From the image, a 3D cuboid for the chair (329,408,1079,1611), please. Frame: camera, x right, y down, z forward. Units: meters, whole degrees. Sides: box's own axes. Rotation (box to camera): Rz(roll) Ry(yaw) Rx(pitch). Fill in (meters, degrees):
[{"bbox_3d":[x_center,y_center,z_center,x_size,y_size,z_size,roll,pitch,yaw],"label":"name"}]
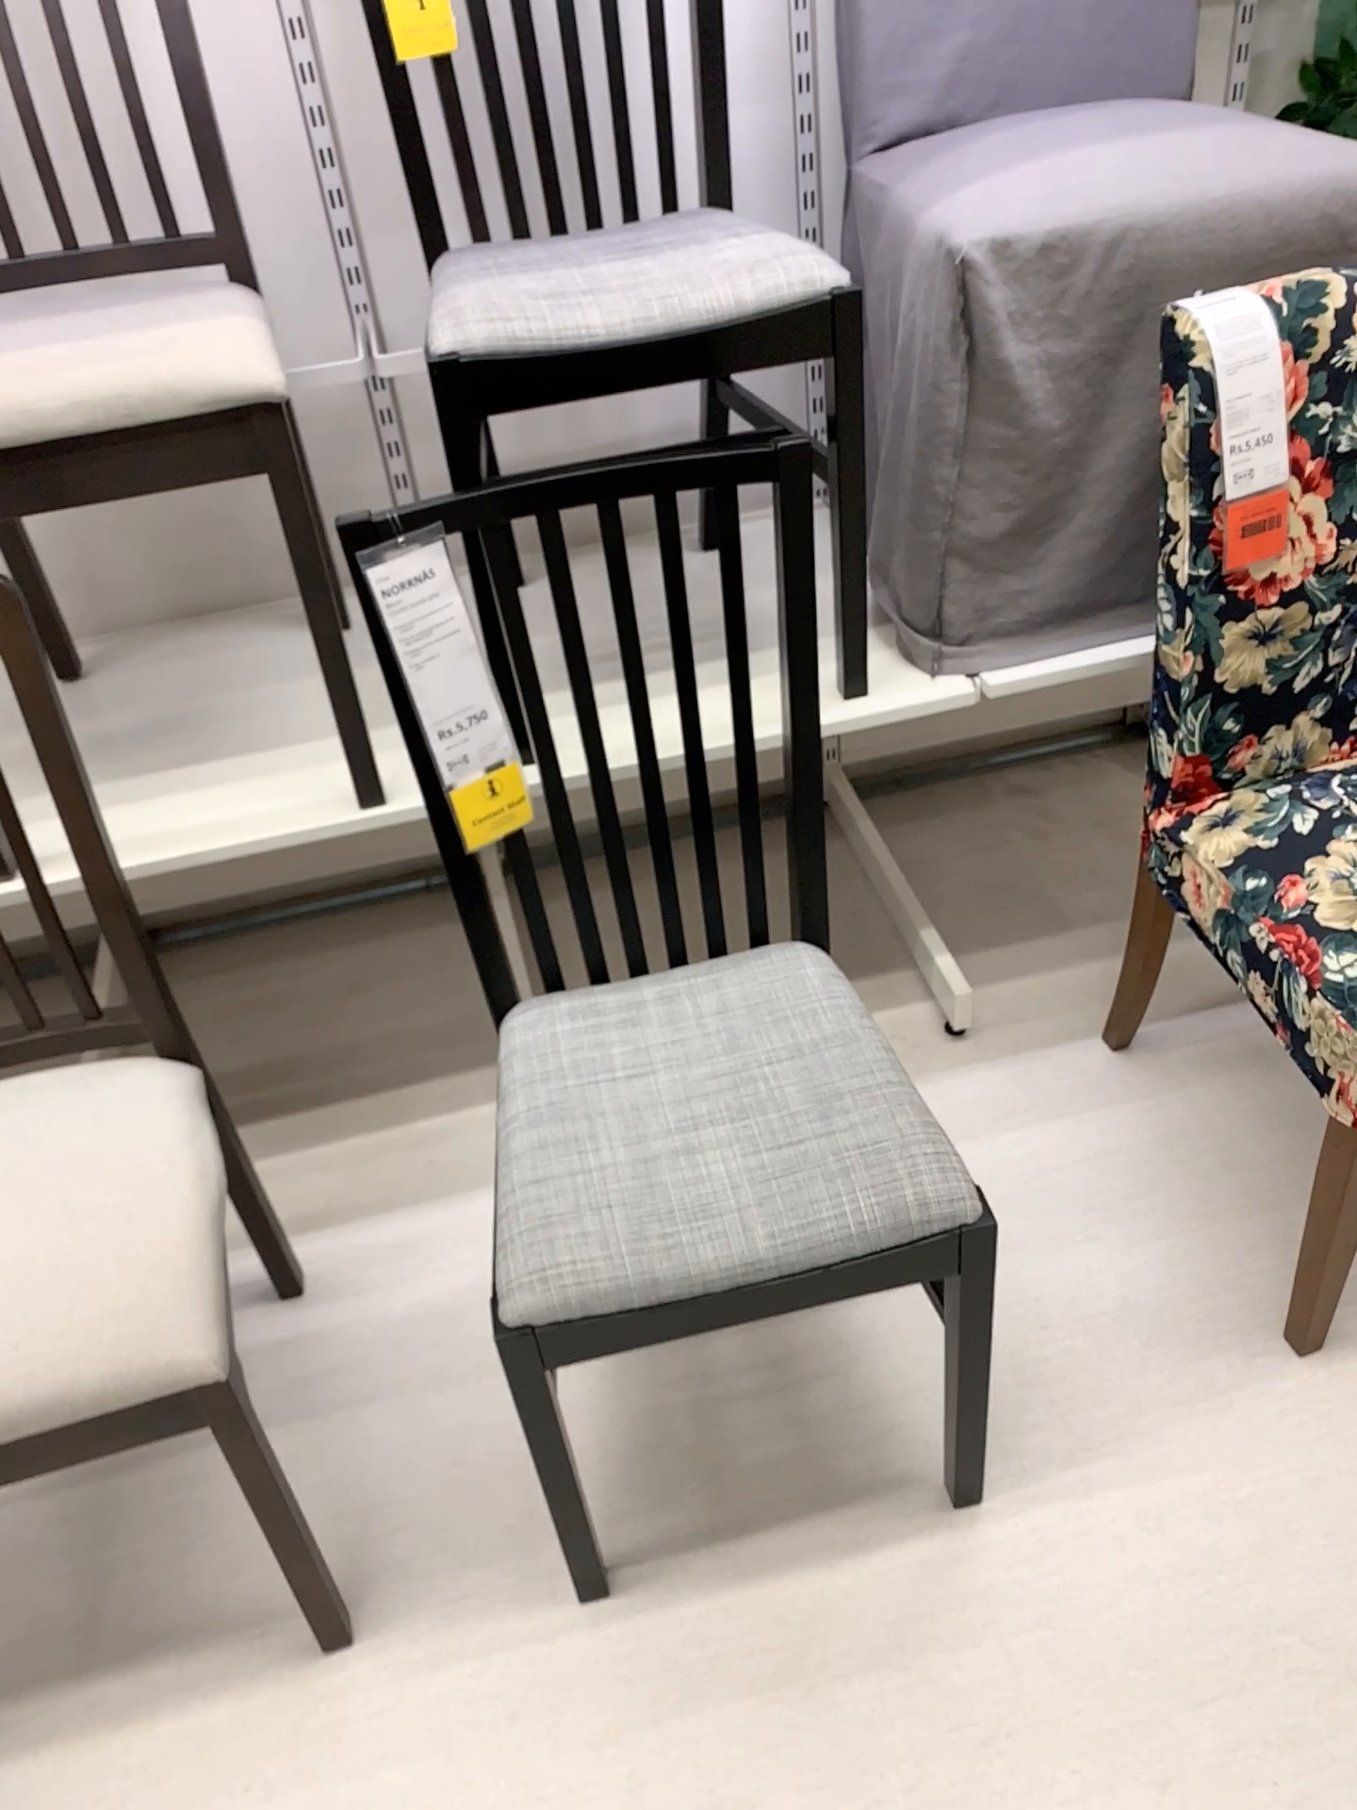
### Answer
[{"bbox_3d":[0.014,0.112,1.286,0.440,0.896,0.553,-11,38,-5],"label":"chair"}]
